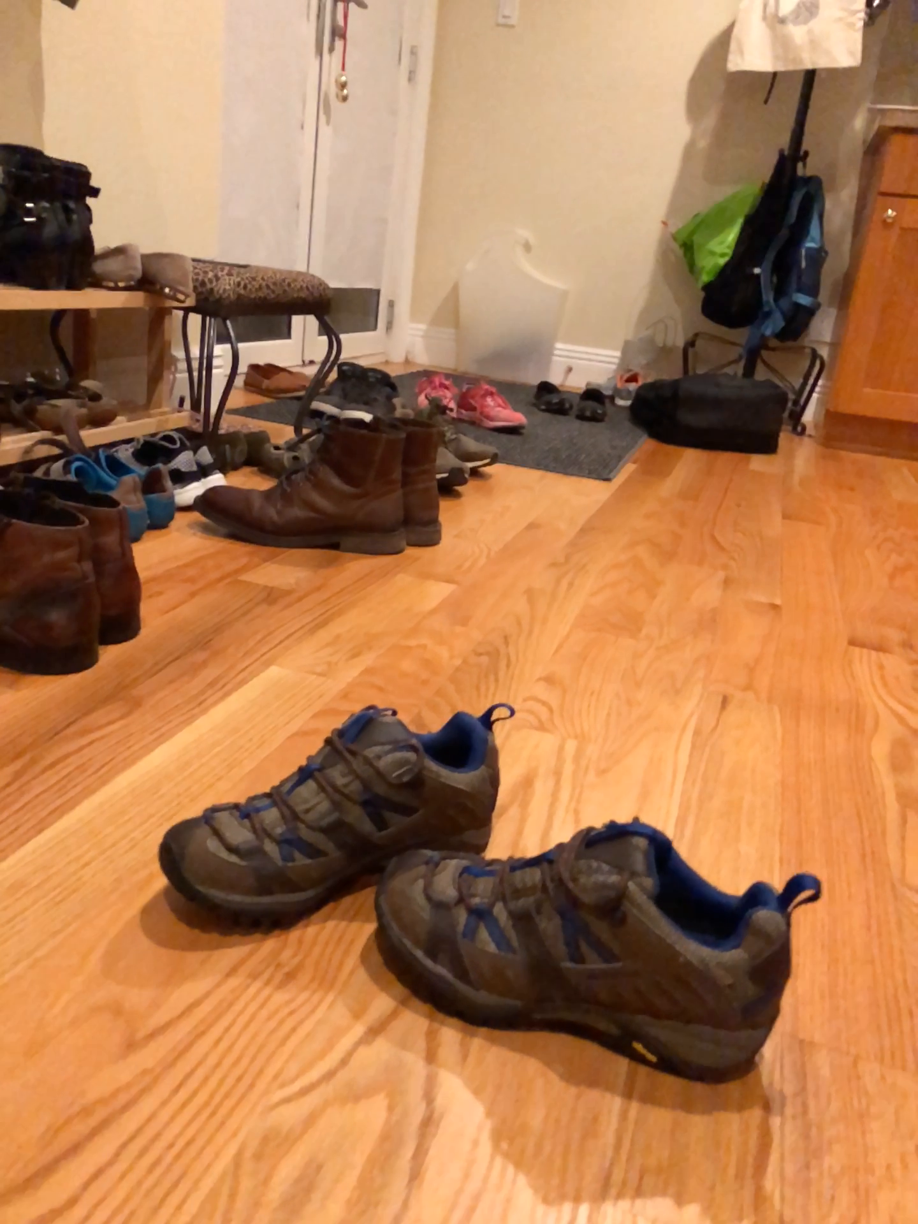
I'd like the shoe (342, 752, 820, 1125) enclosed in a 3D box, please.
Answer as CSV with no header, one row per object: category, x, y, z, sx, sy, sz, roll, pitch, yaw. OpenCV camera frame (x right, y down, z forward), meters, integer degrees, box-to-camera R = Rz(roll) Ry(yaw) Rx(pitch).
shoe,0.067,0.174,0.568,0.240,0.106,0.095,12,19,15

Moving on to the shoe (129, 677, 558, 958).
shoe,-0.071,0.120,0.647,0.252,0.094,0.097,-6,23,-33
